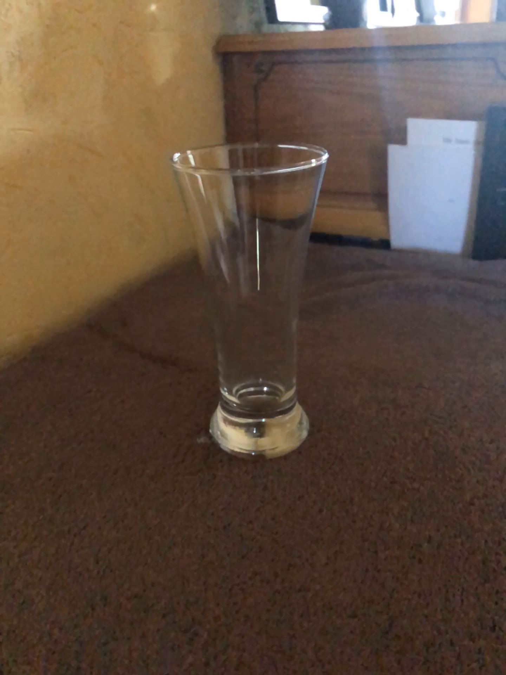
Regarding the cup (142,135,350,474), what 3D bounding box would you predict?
[{"bbox_3d":[0.002,-0.018,0.285,0.080,0.149,0.080,-2,27,1],"label":"cup"}]
